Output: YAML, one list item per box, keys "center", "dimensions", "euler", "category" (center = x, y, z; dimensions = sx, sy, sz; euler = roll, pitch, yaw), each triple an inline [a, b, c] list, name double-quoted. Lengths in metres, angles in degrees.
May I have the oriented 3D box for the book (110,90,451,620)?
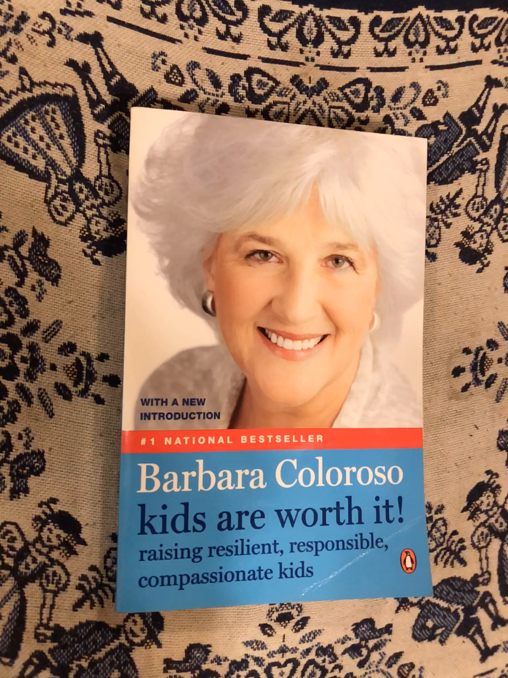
- center: [0.013, 0.008, 0.274]
  dimensions: [0.150, 0.050, 0.220]
  euler: [3, 87, -13]
  category: "book"
